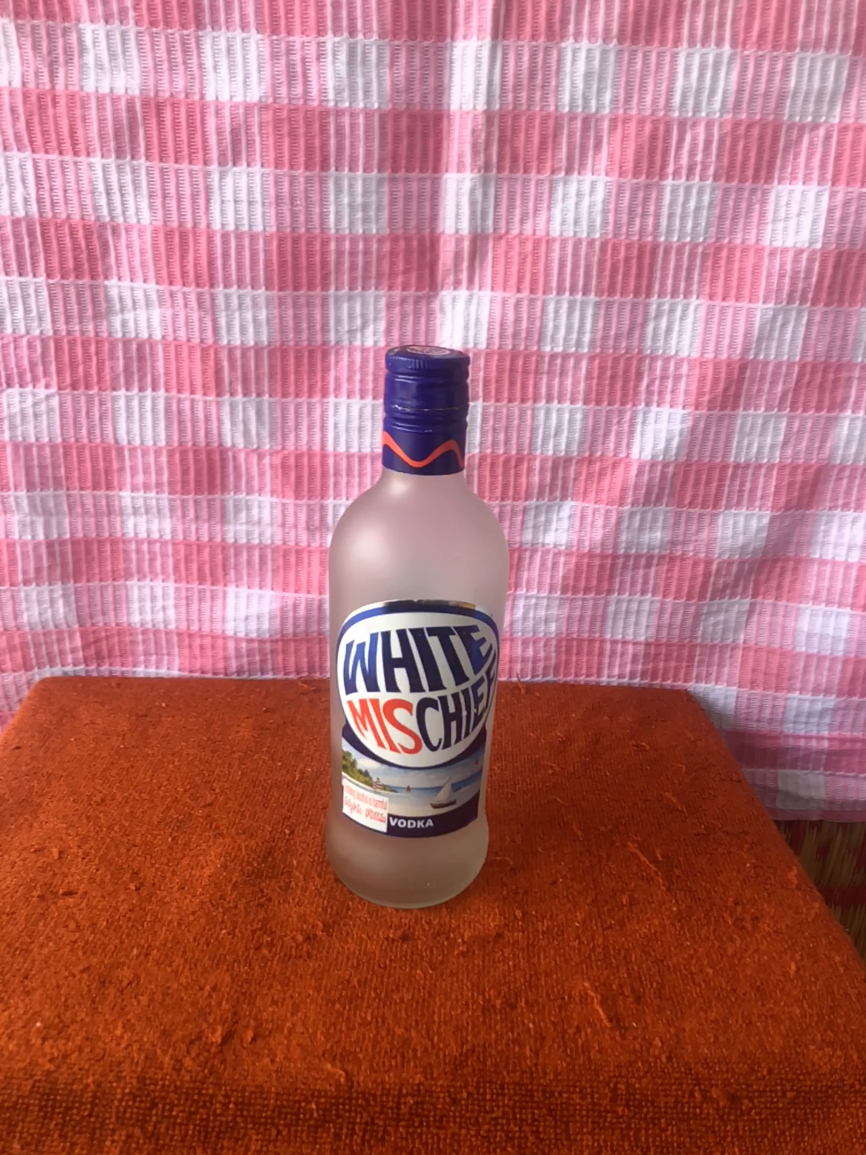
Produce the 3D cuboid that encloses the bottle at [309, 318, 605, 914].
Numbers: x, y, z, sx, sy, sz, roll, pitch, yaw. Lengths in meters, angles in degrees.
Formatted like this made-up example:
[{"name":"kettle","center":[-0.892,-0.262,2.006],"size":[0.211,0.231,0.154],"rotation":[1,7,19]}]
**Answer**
[{"name":"bottle","center":[0.001,0.017,0.344],"size":[0.080,0.199,0.070],"rotation":[3,23,-4]}]
